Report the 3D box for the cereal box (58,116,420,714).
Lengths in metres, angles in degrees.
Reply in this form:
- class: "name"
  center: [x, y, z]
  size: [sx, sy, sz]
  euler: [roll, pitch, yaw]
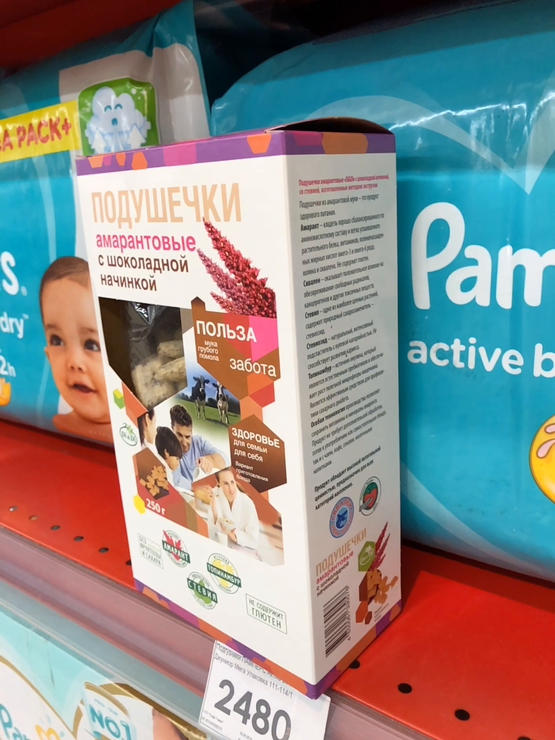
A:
- class: "cereal box"
  center: [-0.015, 0.011, 0.283]
  size: [0.140, 0.219, 0.070]
  euler: [11, 22, 41]
